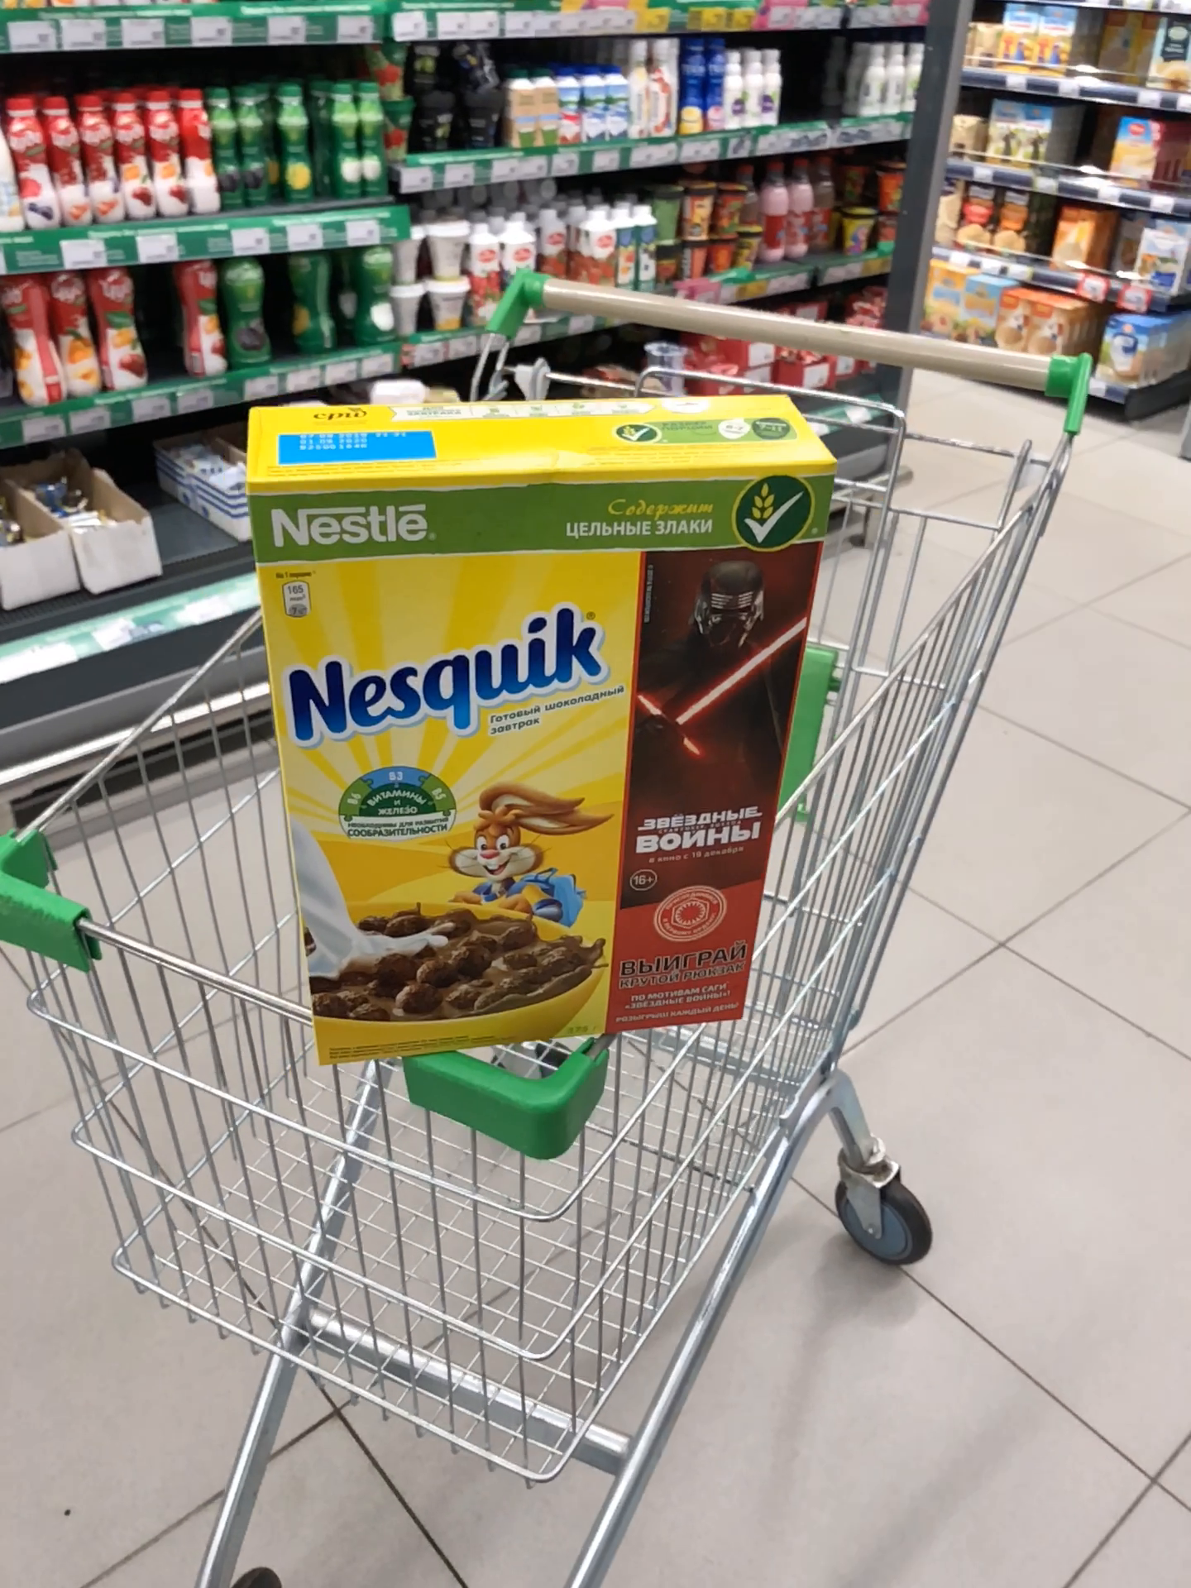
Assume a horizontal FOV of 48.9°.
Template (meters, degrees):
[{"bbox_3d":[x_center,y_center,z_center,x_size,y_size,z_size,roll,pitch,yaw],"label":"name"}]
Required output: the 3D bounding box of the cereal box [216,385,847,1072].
[{"bbox_3d":[-0.029,-0.016,0.520,0.200,0.268,0.070,-4,38,-10],"label":"cereal box"}]
